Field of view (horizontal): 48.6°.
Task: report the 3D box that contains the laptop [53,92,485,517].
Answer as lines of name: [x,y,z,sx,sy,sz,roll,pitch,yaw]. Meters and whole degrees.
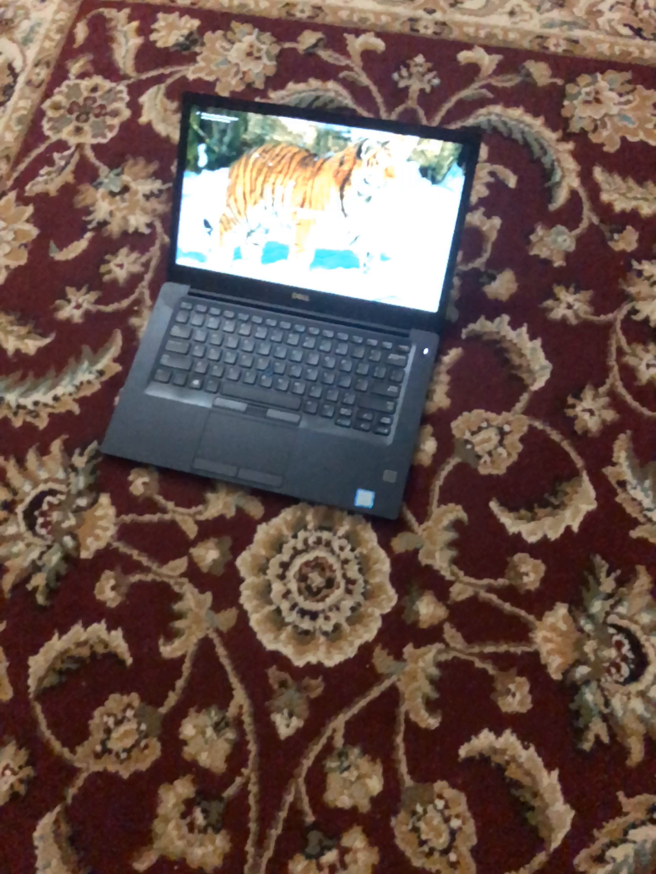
laptop: [-0.042,-0.149,0.762,0.328,0.124,0.383,12,70,10]
